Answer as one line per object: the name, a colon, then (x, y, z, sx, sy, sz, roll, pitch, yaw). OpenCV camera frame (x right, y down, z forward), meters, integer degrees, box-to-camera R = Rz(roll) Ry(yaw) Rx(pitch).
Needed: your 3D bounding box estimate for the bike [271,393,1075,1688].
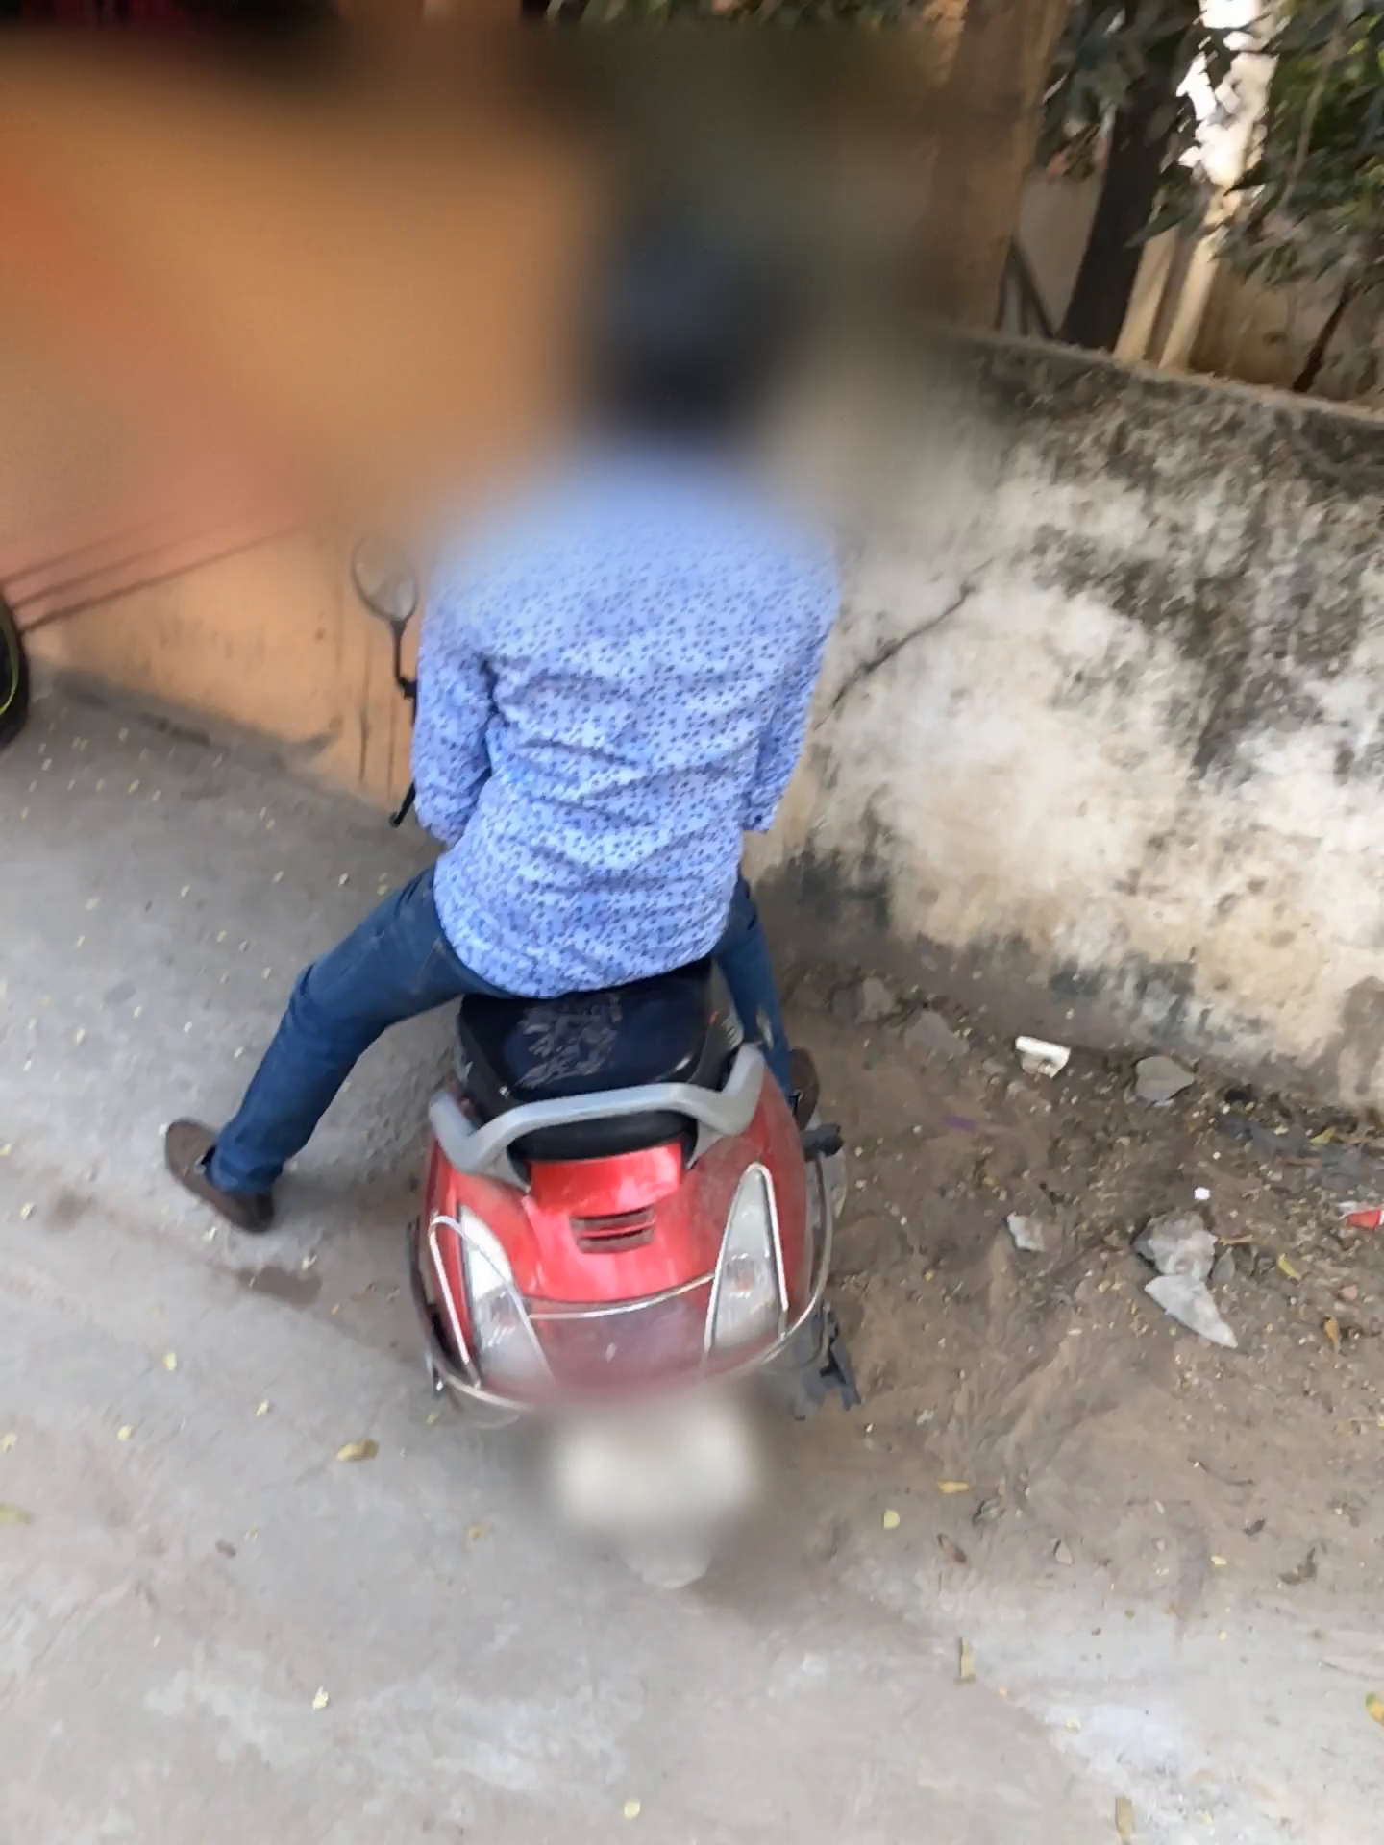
bike: (-0.240, 0.047, 2.297, 0.722, 1.164, 1.510, 1, 32, -16)
